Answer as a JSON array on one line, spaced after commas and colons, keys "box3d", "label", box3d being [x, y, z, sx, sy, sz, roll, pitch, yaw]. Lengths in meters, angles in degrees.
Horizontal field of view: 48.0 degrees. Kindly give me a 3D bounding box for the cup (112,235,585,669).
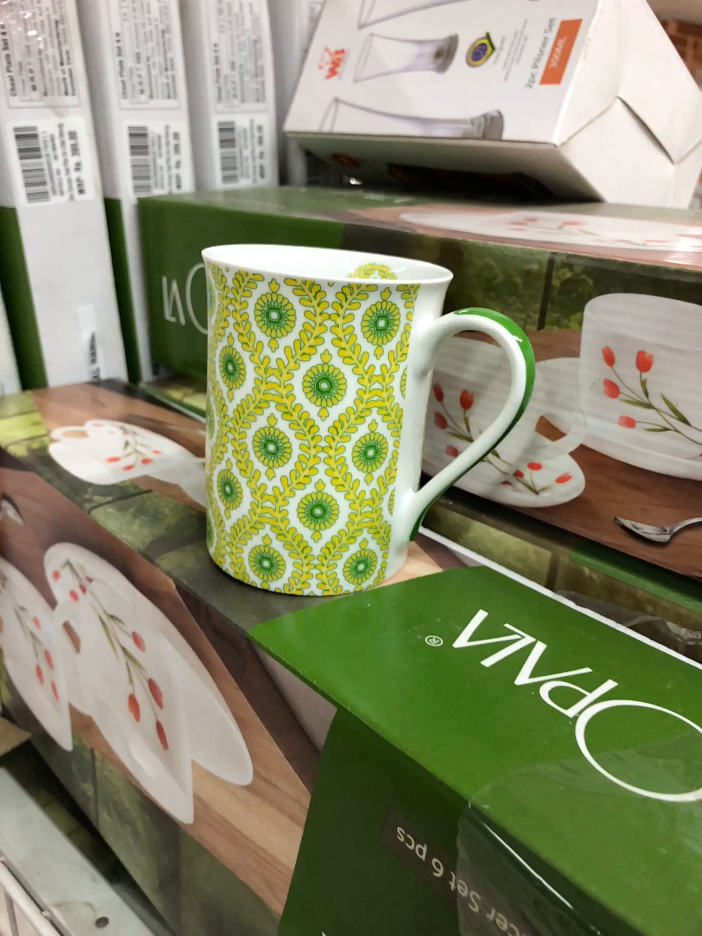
[{"box3d": [0.002, -0.015, 0.232, 0.110, 0.090, 0.080, 12, 18, 15], "label": "cup"}]
